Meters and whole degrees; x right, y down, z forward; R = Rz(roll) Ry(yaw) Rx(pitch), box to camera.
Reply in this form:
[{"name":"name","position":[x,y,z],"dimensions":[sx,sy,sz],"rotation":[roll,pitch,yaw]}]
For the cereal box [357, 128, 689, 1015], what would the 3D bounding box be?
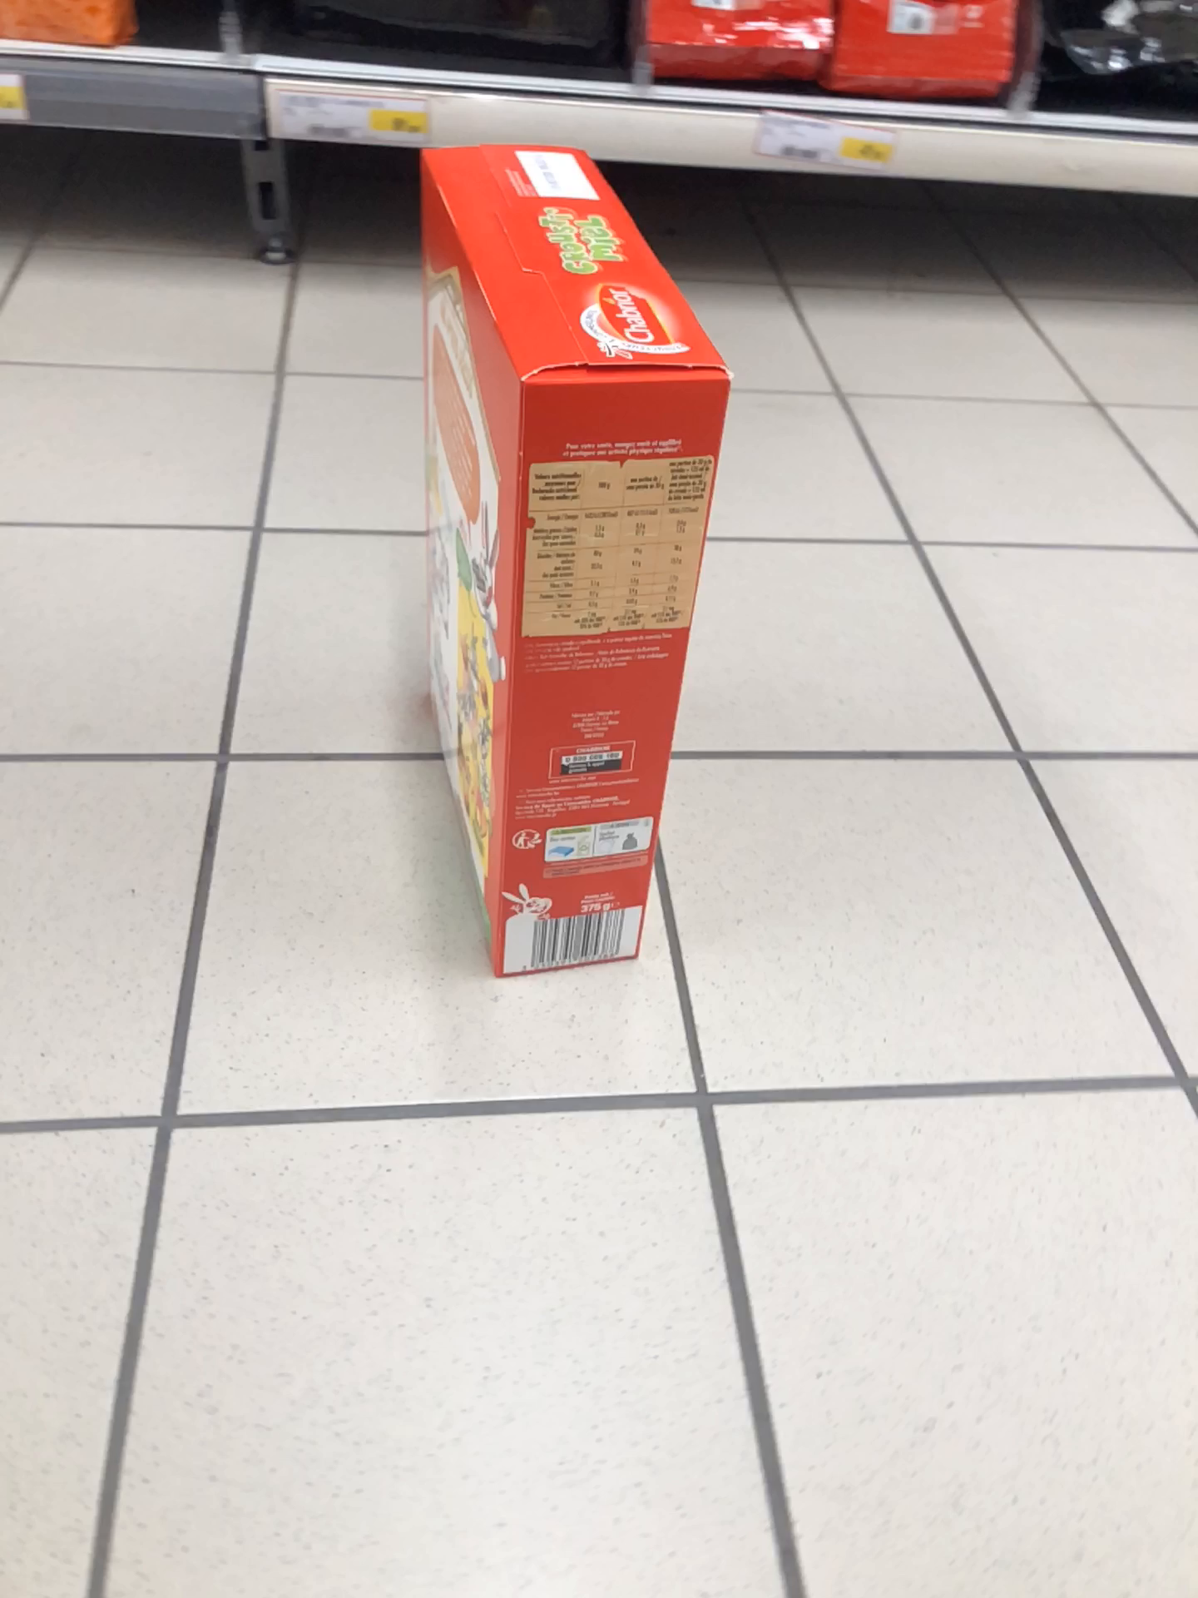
[{"name":"cereal box","position":[-0.044,-0.084,0.513],"dimensions":[0.070,0.268,0.201],"rotation":[-5,43,-13]}]
